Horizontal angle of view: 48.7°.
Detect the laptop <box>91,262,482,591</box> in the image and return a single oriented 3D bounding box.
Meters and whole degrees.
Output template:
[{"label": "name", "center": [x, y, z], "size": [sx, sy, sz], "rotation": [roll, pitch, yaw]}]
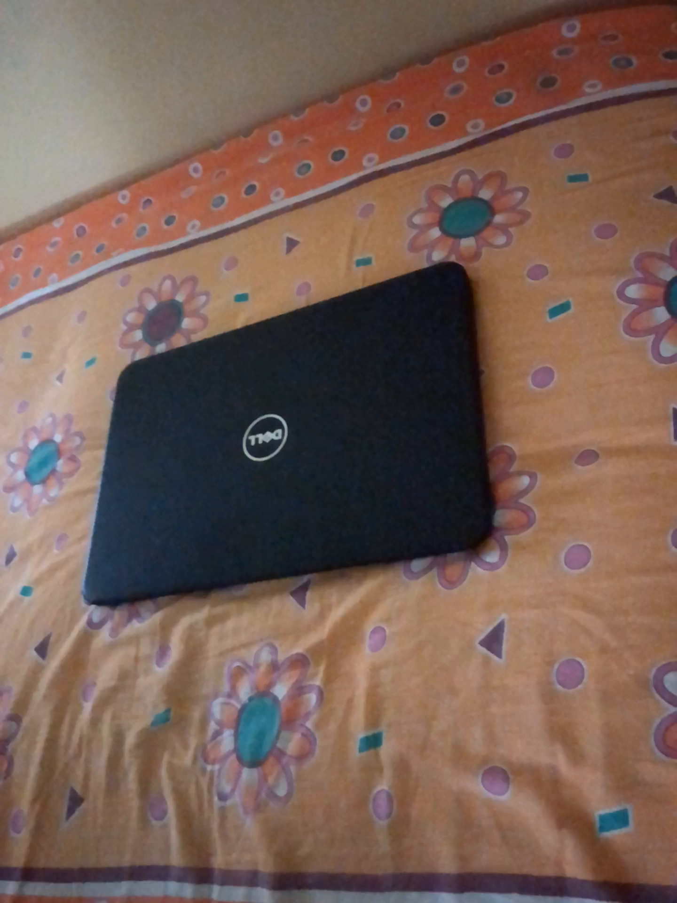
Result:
[{"label": "laptop", "center": [-0.063, -0.017, 0.645], "size": [0.359, 0.001, 0.236], "rotation": [-13, 61, 24]}]
